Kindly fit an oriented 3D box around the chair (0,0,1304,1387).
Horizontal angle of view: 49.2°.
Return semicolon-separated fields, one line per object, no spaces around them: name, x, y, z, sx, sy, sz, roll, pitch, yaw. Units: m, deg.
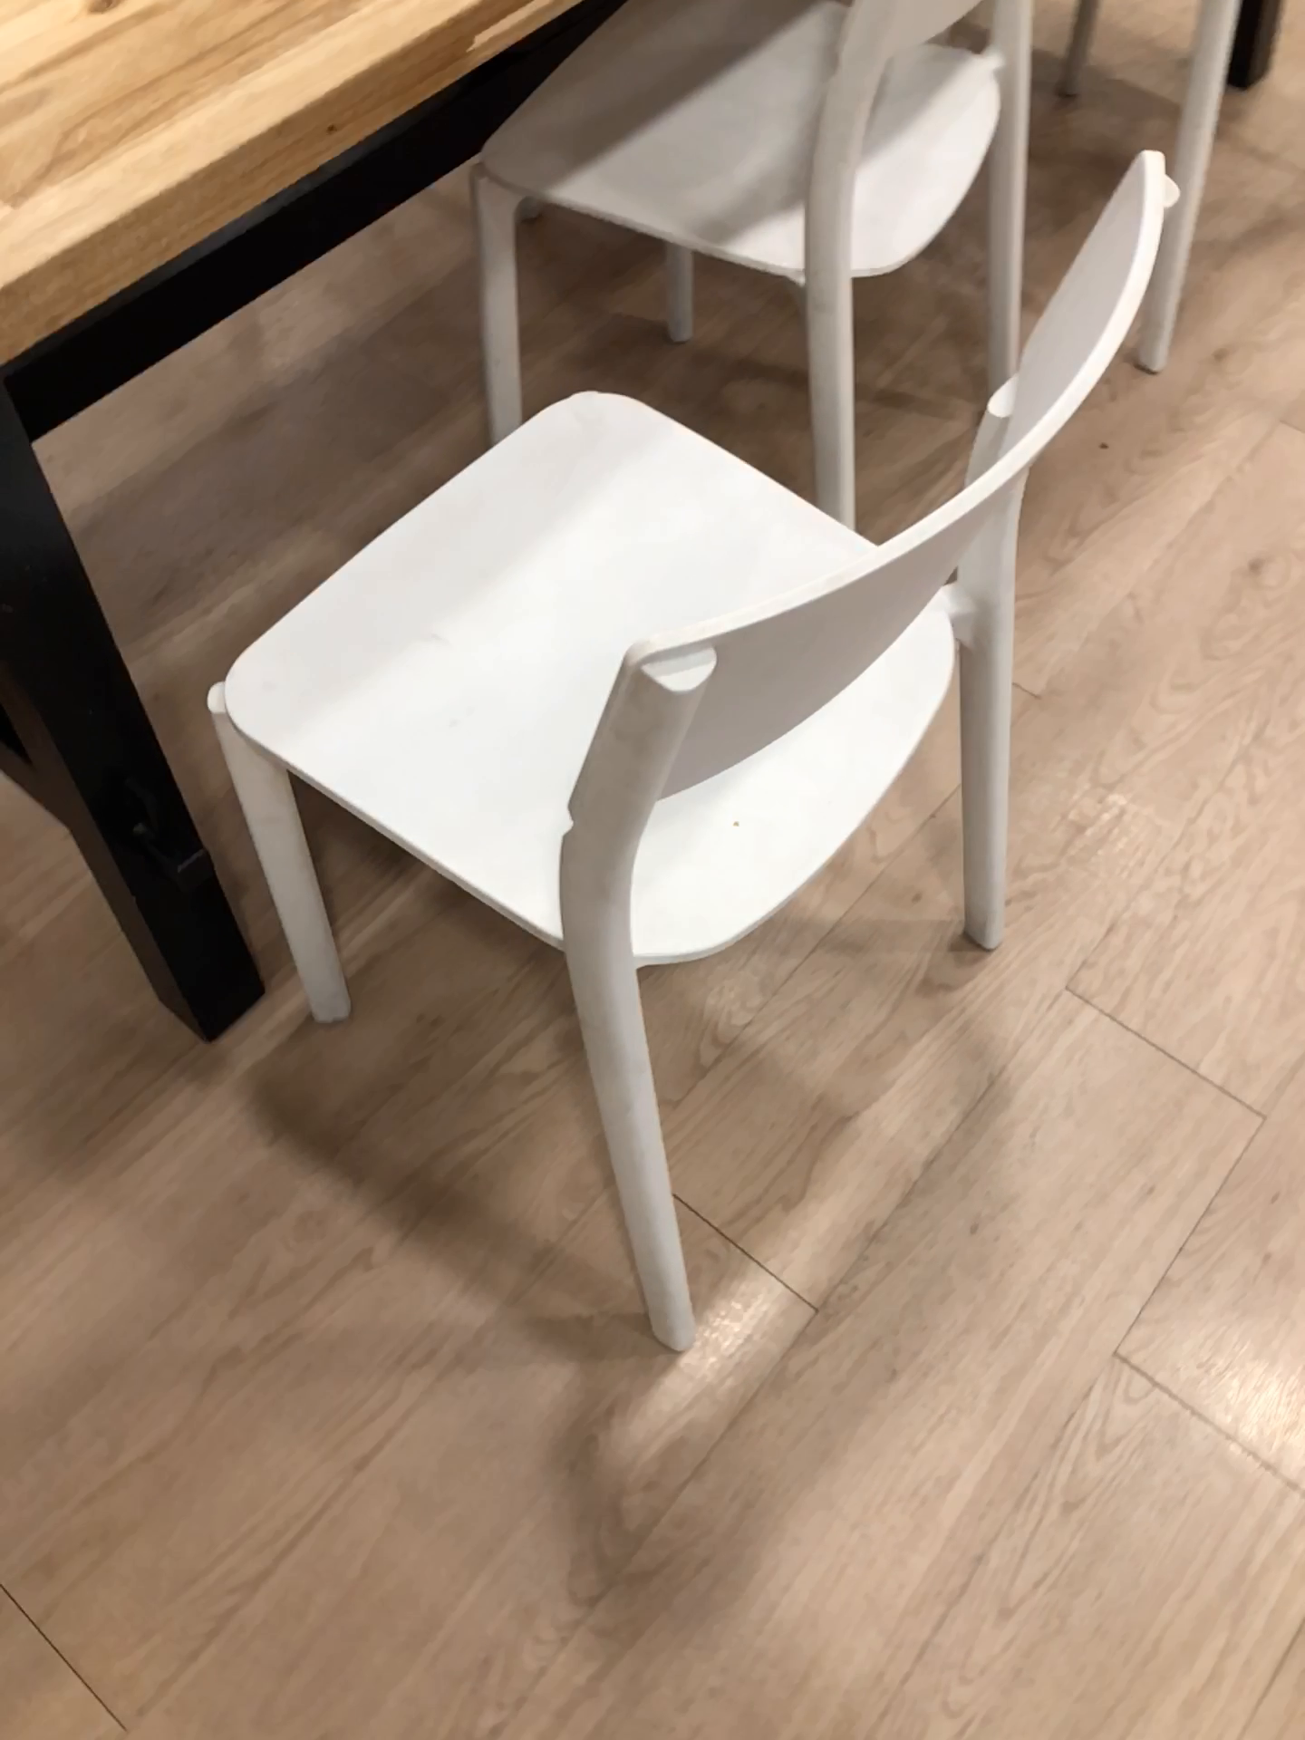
chair;-0.035;-0.125;0.977;0.562;0.716;0.531;33;64;20
